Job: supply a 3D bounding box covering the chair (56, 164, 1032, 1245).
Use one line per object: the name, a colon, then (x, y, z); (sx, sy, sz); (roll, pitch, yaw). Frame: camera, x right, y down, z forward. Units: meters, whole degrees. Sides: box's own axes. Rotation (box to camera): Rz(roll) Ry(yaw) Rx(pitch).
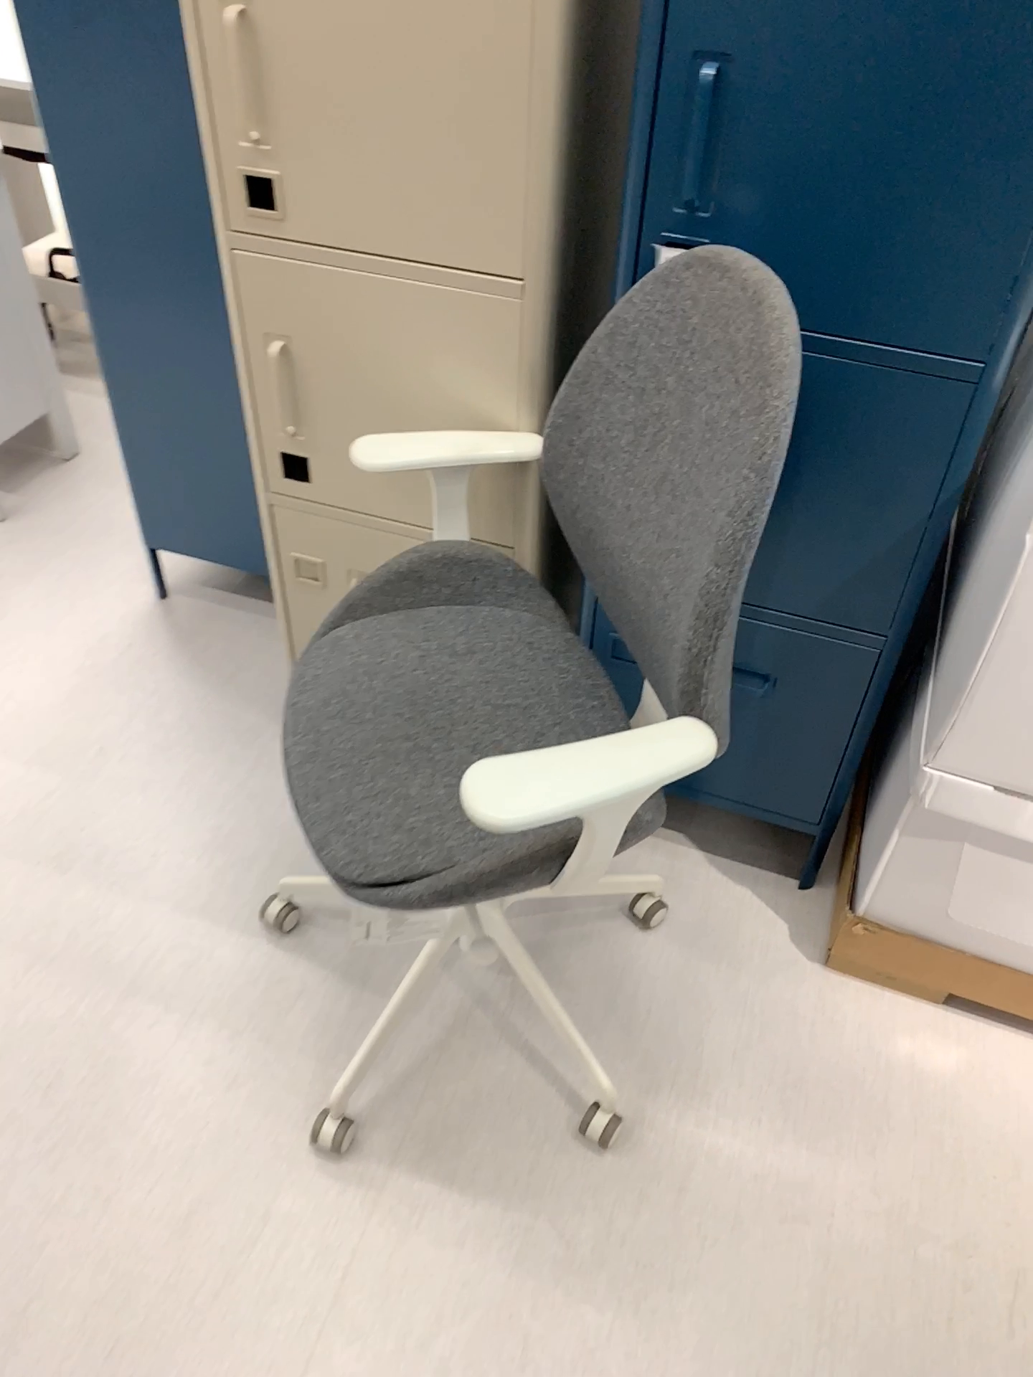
chair: (-0.041, 0.039, 1.236); (0.670, 0.996, 0.653); (-9, 44, -12)
